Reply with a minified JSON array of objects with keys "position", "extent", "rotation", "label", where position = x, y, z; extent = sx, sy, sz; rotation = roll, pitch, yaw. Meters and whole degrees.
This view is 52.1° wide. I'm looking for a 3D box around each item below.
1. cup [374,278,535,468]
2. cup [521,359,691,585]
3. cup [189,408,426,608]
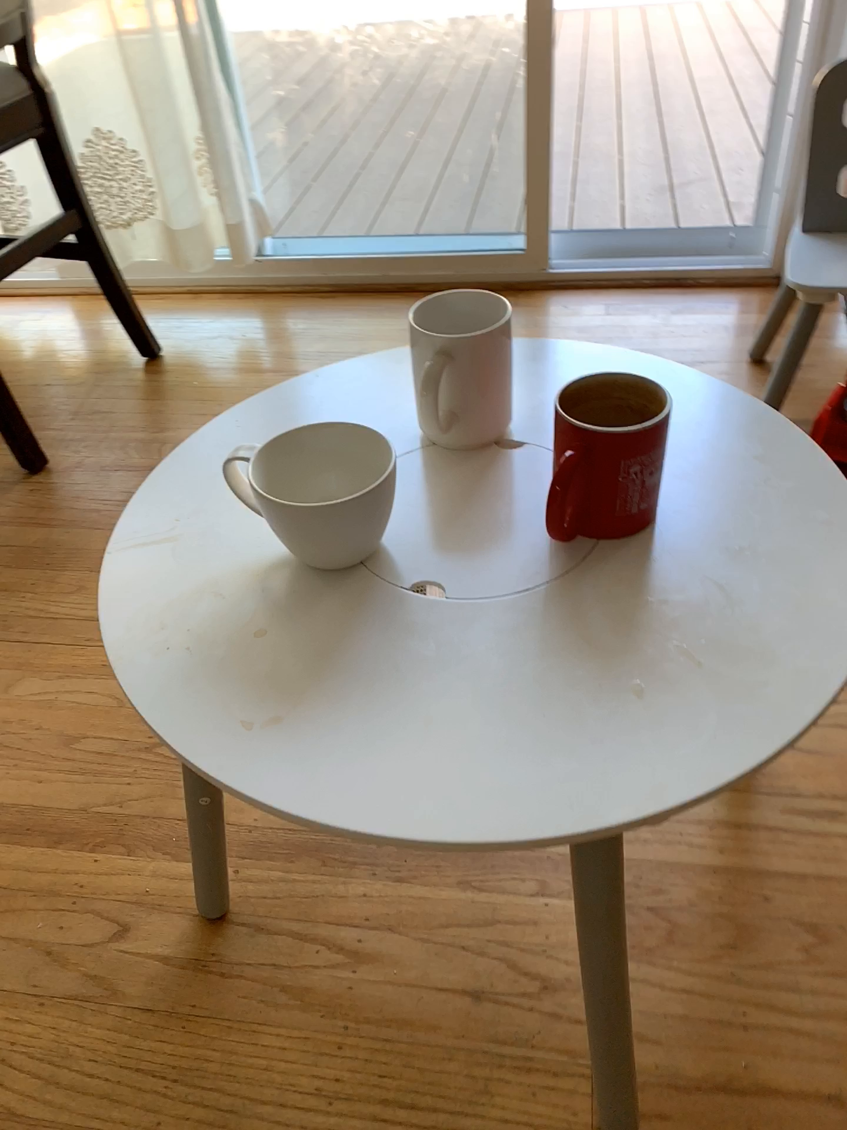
[{"position":[0.031,-0.164,0.728],"extent":[0.090,0.099,0.120],"rotation":[13,44,21],"label":"cup"},{"position":[0.136,-0.073,0.648],"extent":[0.080,0.099,0.130],"rotation":[17,46,24],"label":"cup"},{"position":[-0.084,-0.048,0.658],"extent":[0.130,0.070,0.110],"rotation":[20,47,26],"label":"cup"}]
